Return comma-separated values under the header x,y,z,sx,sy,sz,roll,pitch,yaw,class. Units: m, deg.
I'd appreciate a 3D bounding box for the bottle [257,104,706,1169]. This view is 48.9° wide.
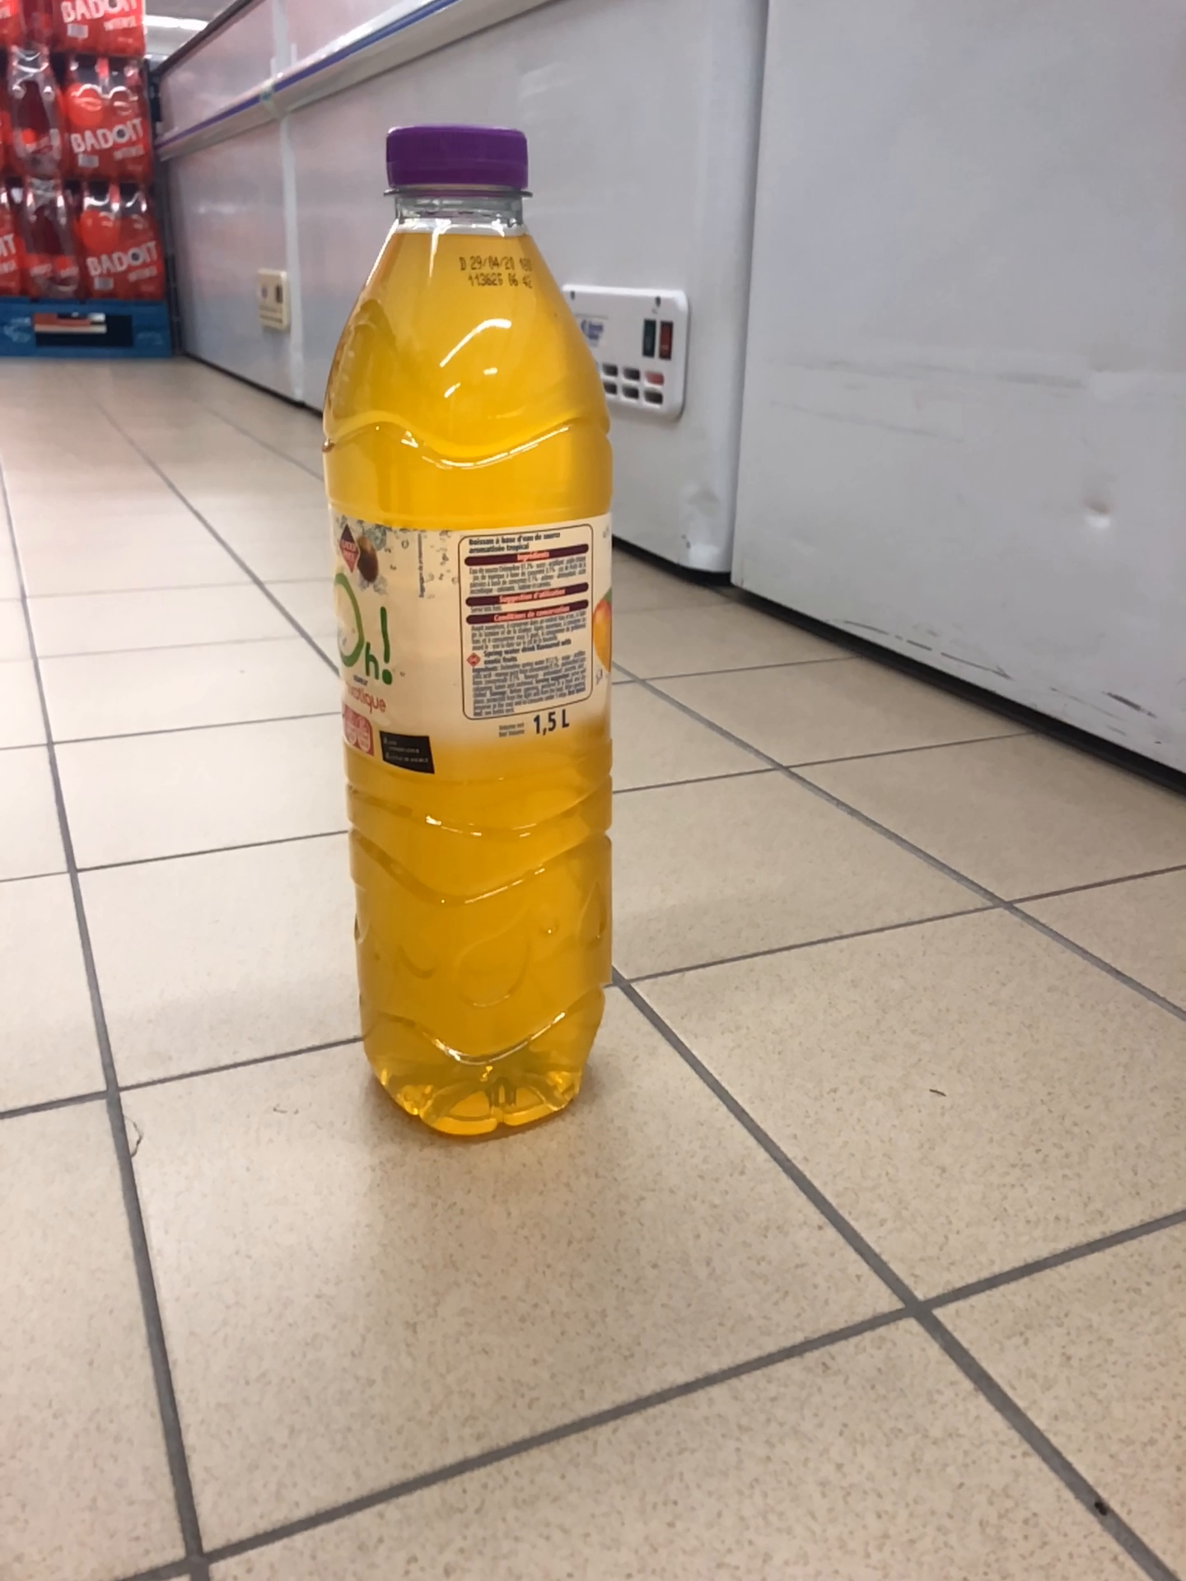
x,y,z,sx,sy,sz,roll,pitch,yaw,class
-0.039,-0.045,0.420,0.090,0.299,0.100,-11,24,-31,bottle
